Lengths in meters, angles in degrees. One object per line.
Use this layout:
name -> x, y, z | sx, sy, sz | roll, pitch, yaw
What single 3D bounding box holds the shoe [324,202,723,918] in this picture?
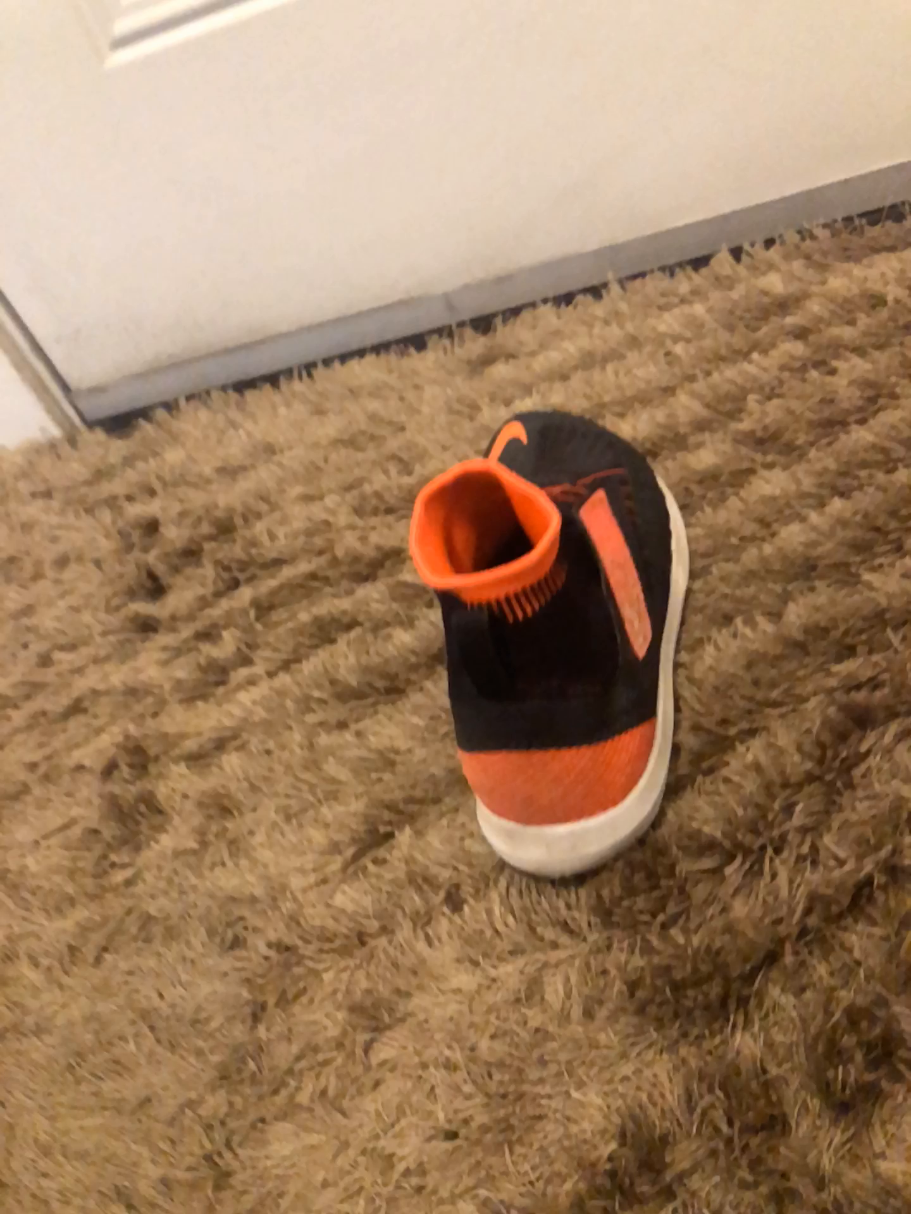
shoe -> 0.046, -0.034, 0.462 | 0.110, 0.139, 0.304 | -8, 46, 17
